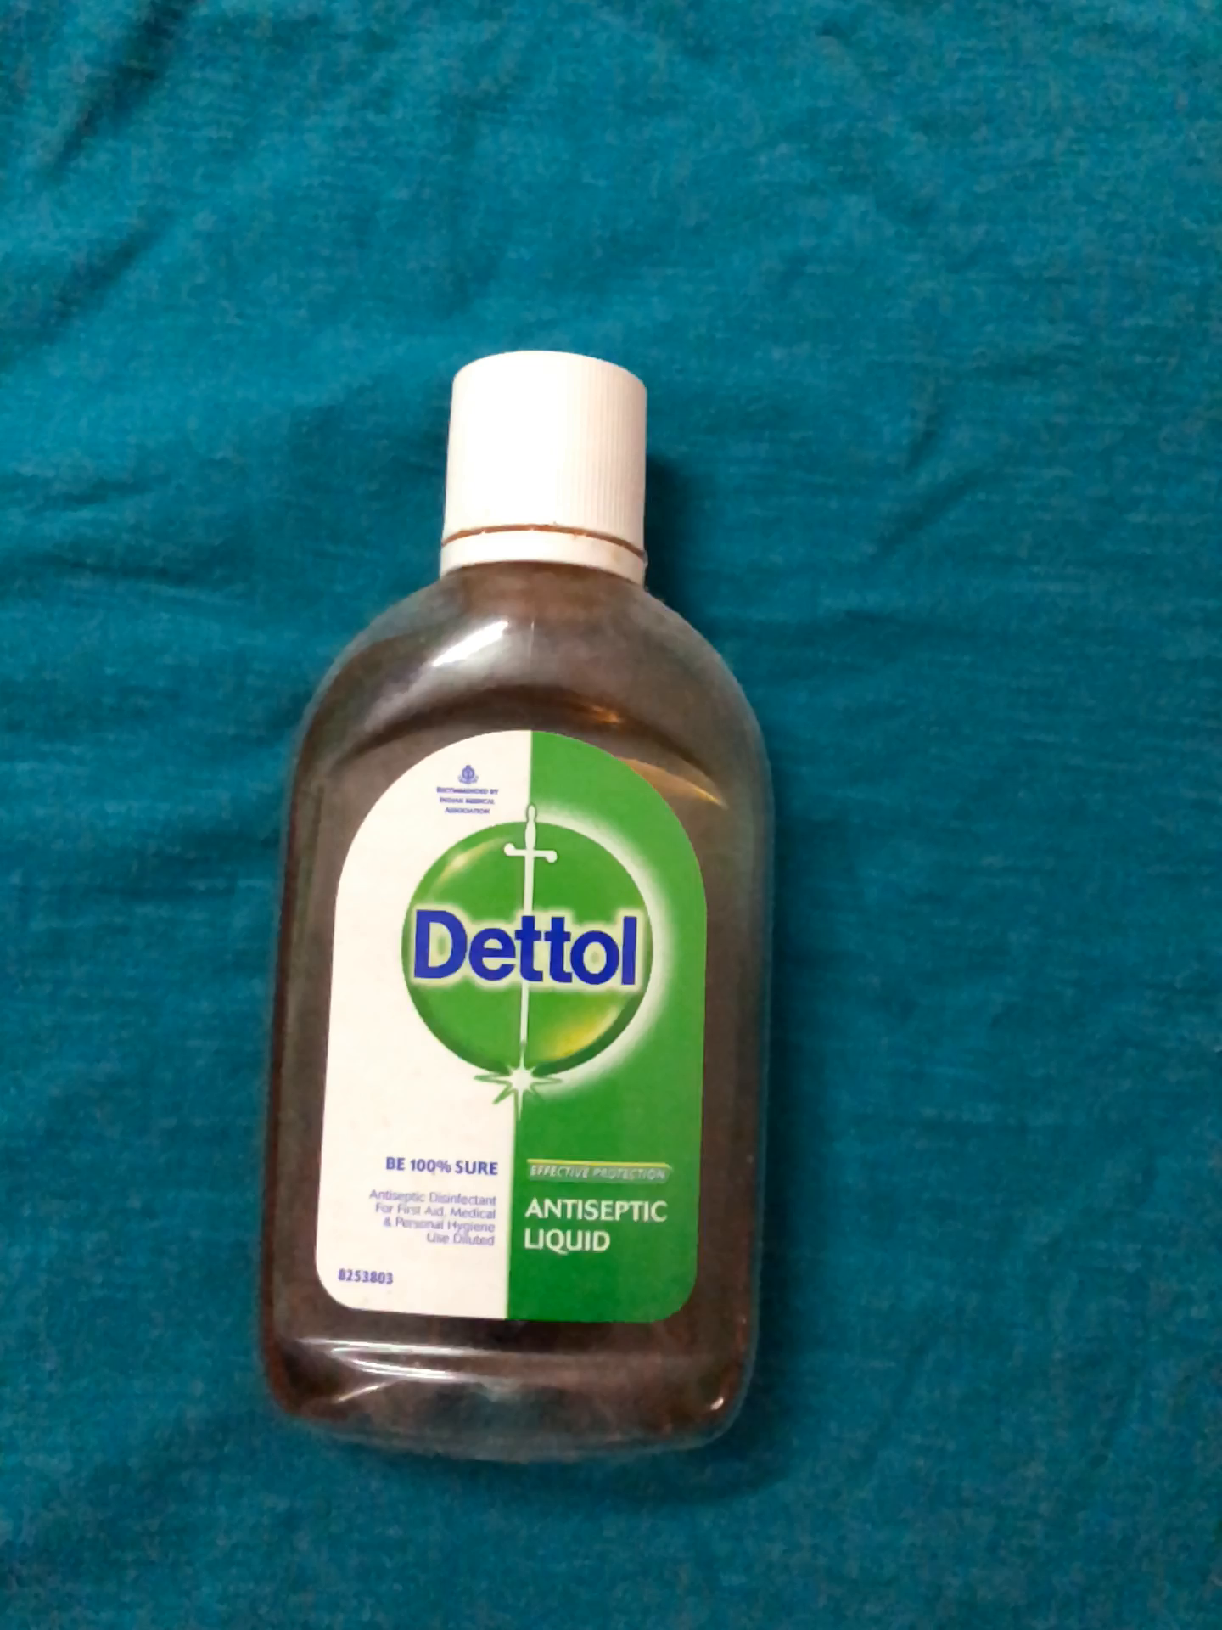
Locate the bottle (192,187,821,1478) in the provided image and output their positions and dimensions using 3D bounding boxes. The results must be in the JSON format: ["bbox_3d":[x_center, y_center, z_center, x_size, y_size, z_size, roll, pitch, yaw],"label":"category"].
[{"bbox_3d":[-0.013,0.001,0.214,0.080,0.040,0.180,3,83,-4],"label":"bottle"}]
